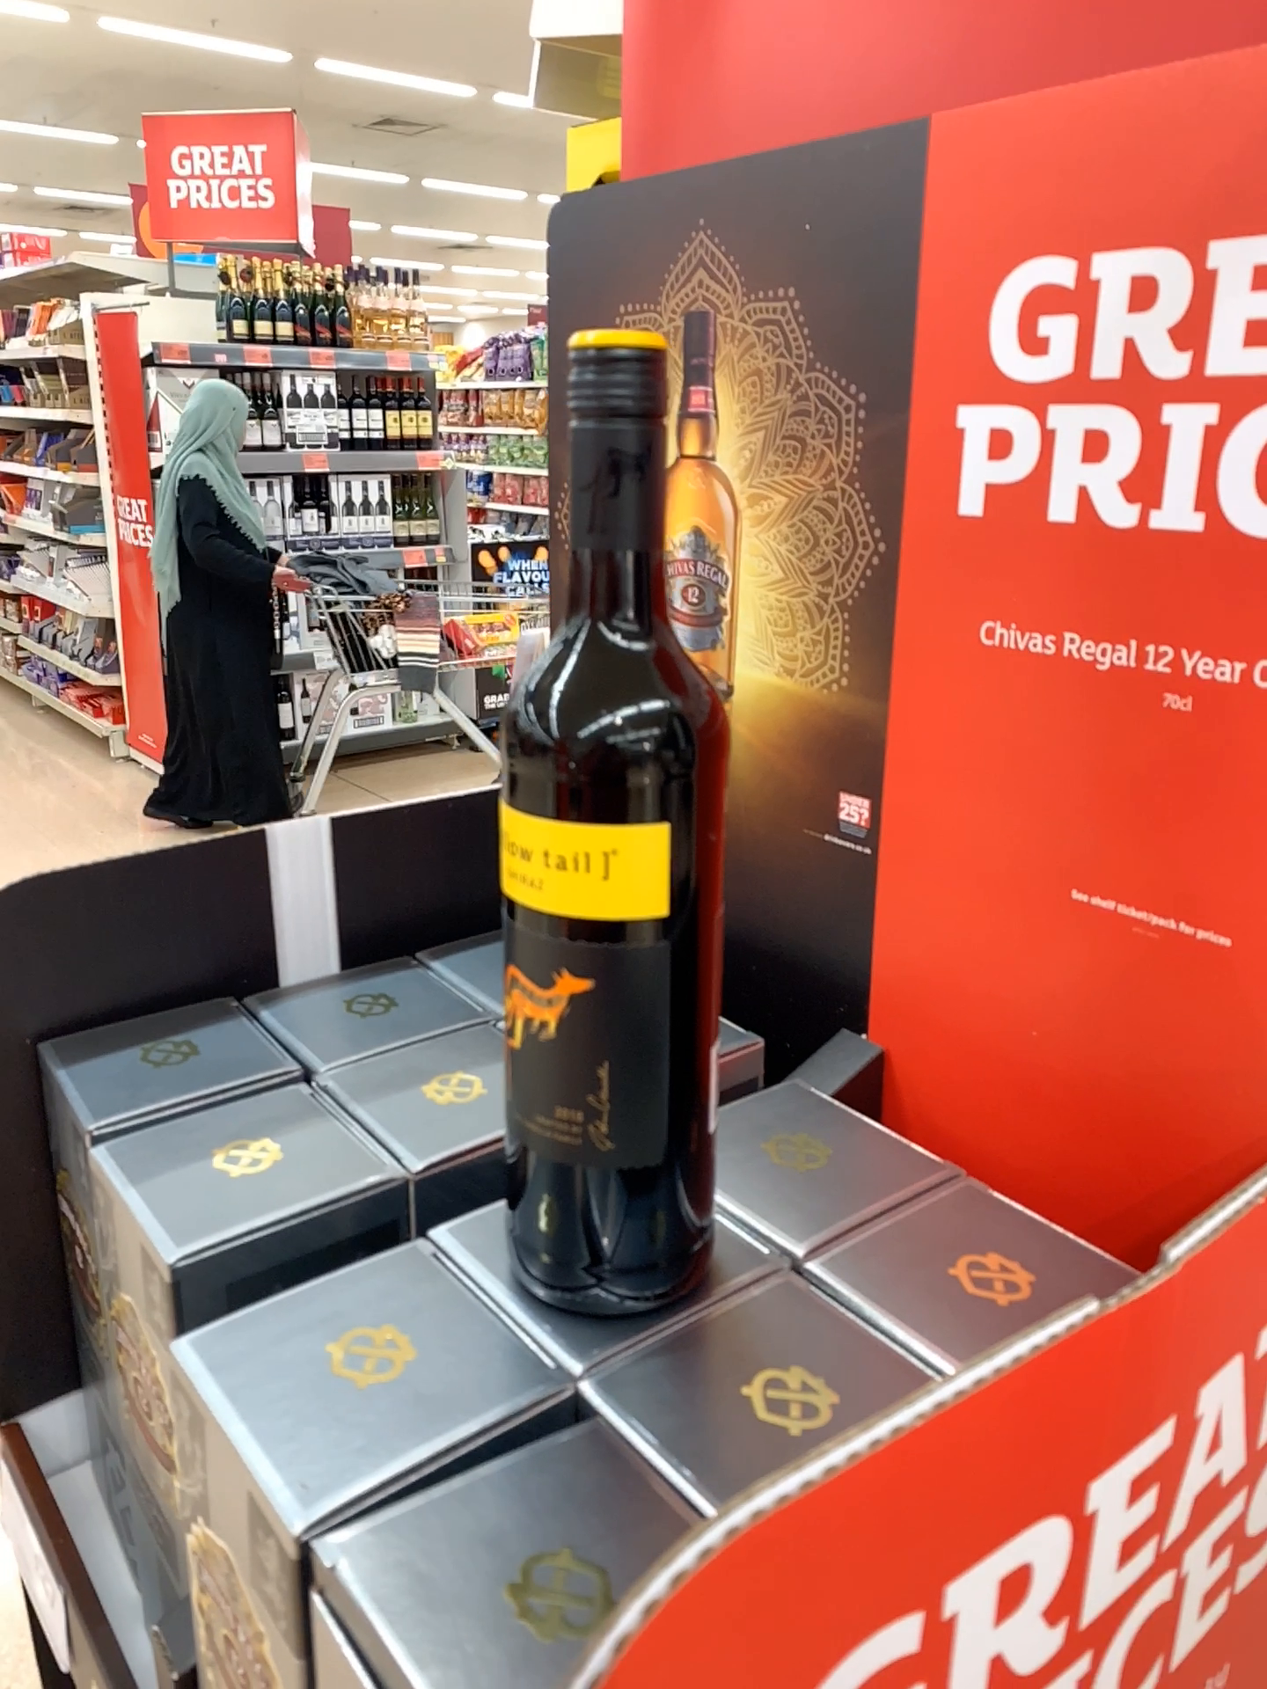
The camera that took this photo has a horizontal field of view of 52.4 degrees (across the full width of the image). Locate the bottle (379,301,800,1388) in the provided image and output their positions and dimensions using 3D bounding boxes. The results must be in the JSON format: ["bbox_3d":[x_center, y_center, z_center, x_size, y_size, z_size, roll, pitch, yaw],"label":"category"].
[{"bbox_3d":[-0.015,0.001,0.405,0.081,0.308,0.087,1,17,0],"label":"bottle"}]
